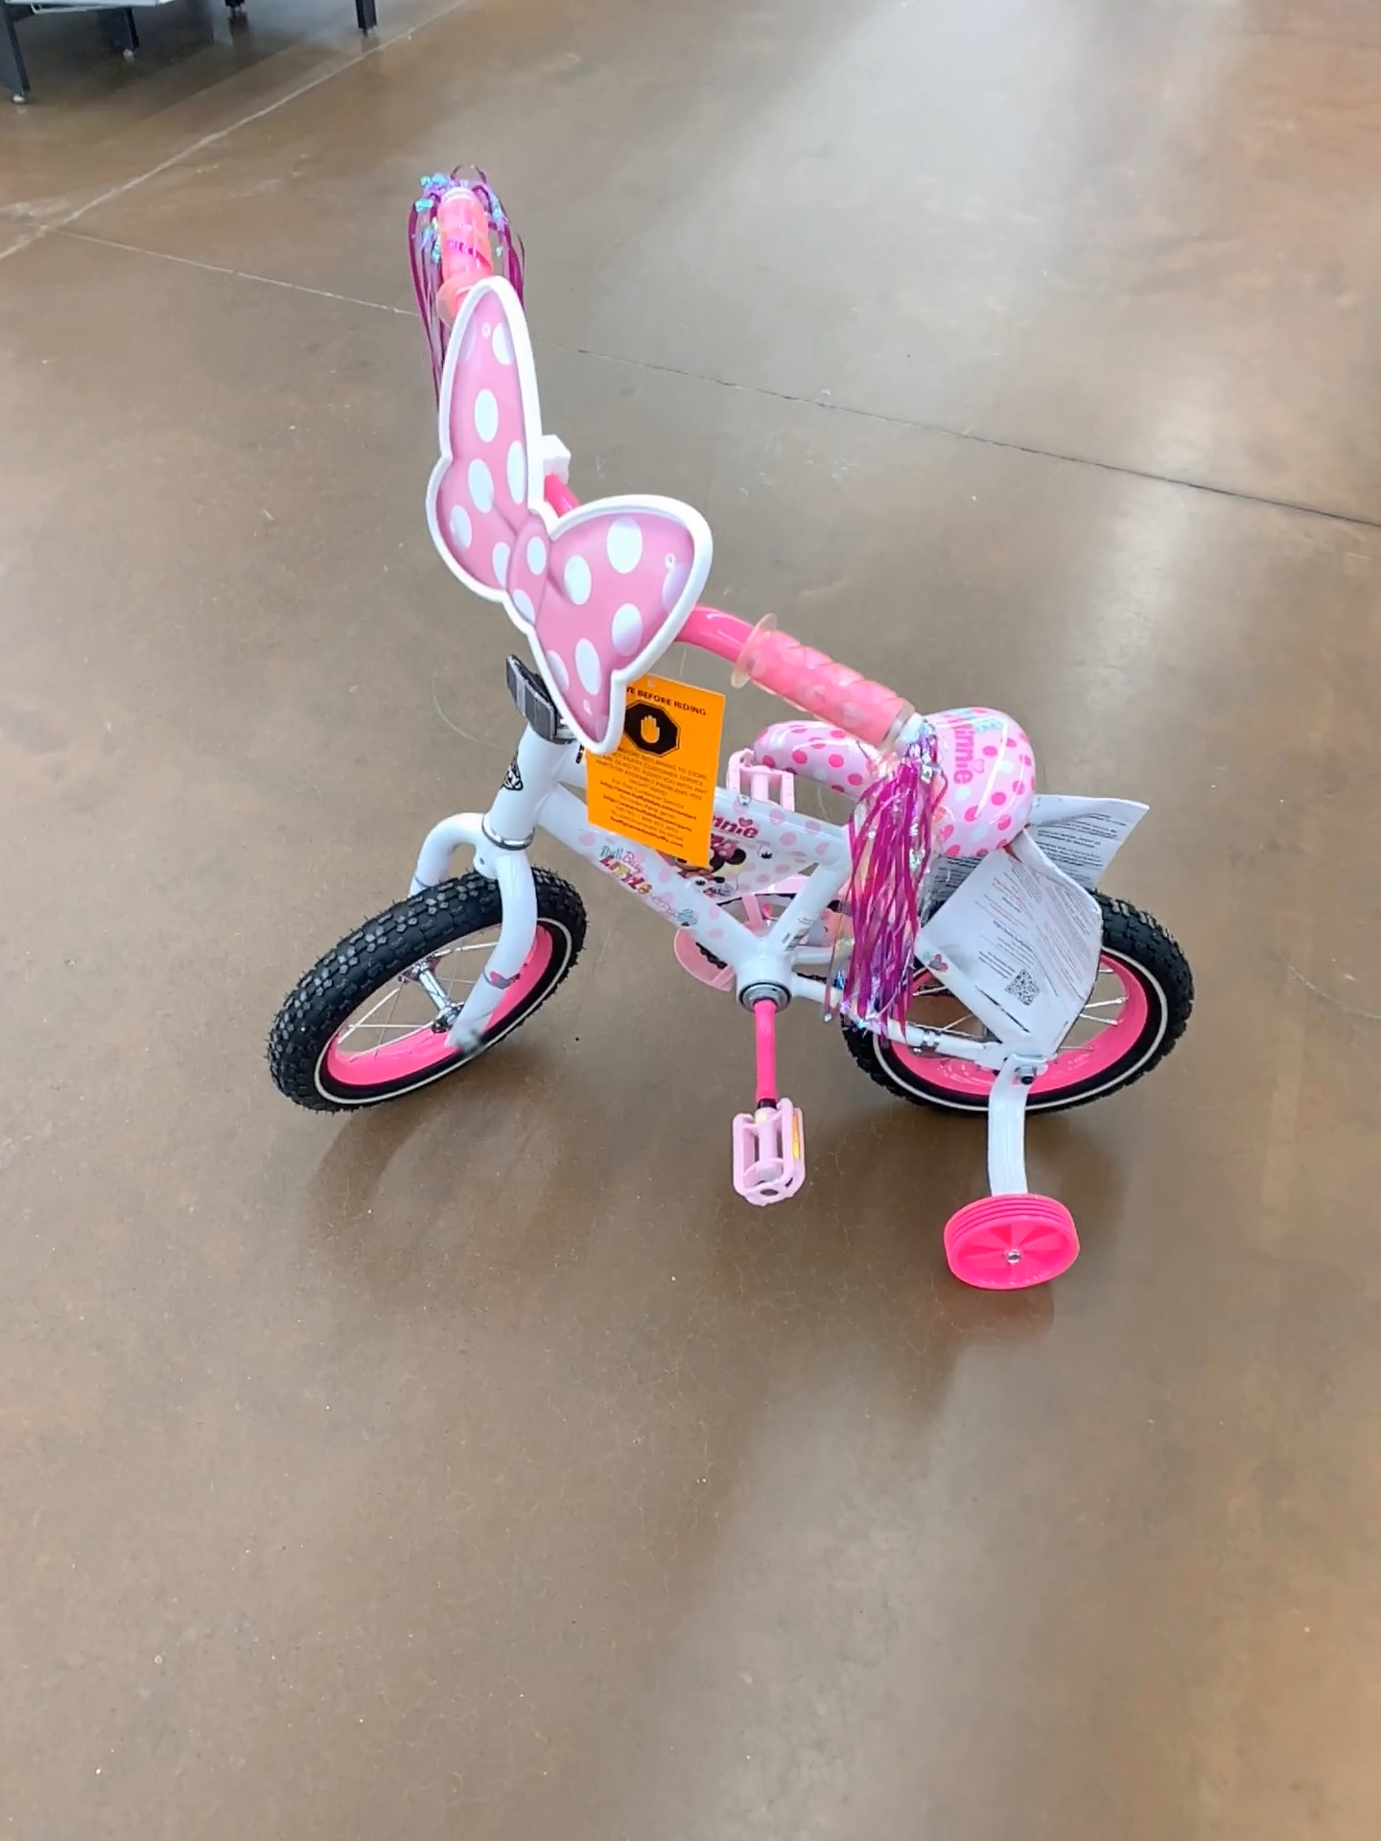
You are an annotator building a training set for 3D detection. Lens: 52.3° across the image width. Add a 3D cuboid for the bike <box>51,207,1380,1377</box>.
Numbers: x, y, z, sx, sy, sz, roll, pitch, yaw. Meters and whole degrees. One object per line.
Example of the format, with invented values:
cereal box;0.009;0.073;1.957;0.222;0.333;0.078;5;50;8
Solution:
bike;0.043;-0.051;1.063;0.776;0.707;0.429;-4;47;-3
